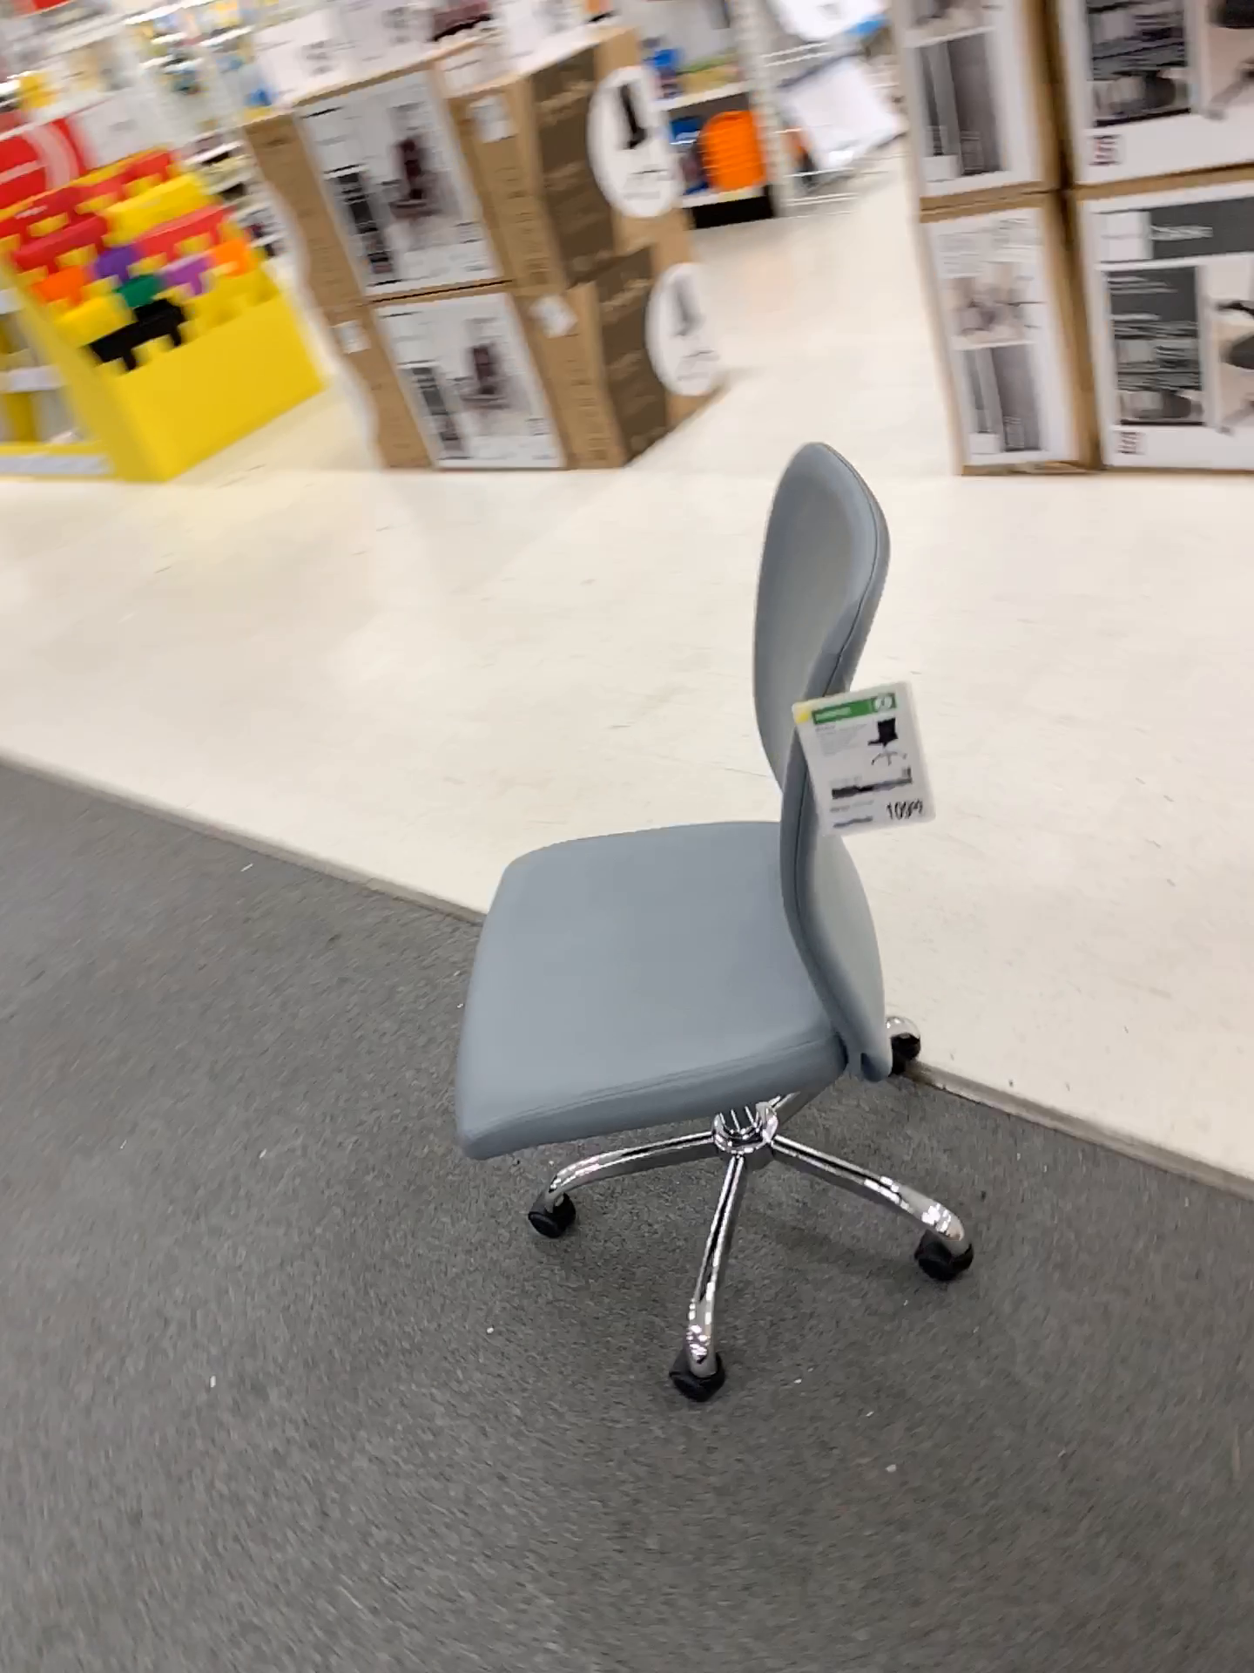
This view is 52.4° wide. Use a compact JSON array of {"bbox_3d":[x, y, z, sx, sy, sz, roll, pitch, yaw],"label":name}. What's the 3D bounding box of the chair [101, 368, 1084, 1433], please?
[{"bbox_3d":[0.053,0.103,1.394,0.650,0.875,0.603,-12,35,13],"label":"chair"}]
